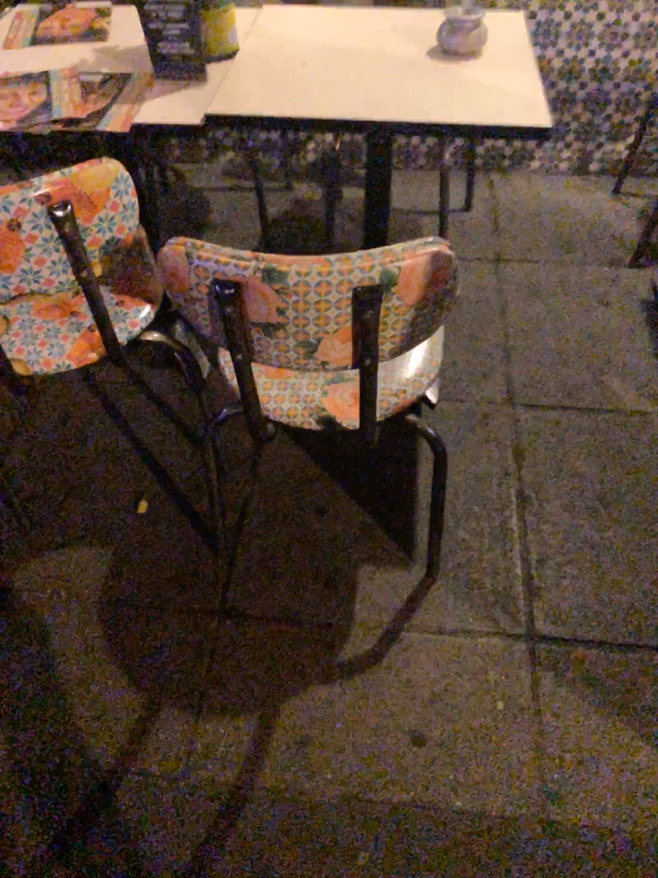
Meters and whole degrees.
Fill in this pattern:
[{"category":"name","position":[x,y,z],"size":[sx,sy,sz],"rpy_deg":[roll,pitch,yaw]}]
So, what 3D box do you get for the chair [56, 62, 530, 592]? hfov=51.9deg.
[{"category":"chair","position":[-0.013,-0.172,1.186],"size":[0.520,0.694,0.575],"rpy_deg":[2,50,4]}]
